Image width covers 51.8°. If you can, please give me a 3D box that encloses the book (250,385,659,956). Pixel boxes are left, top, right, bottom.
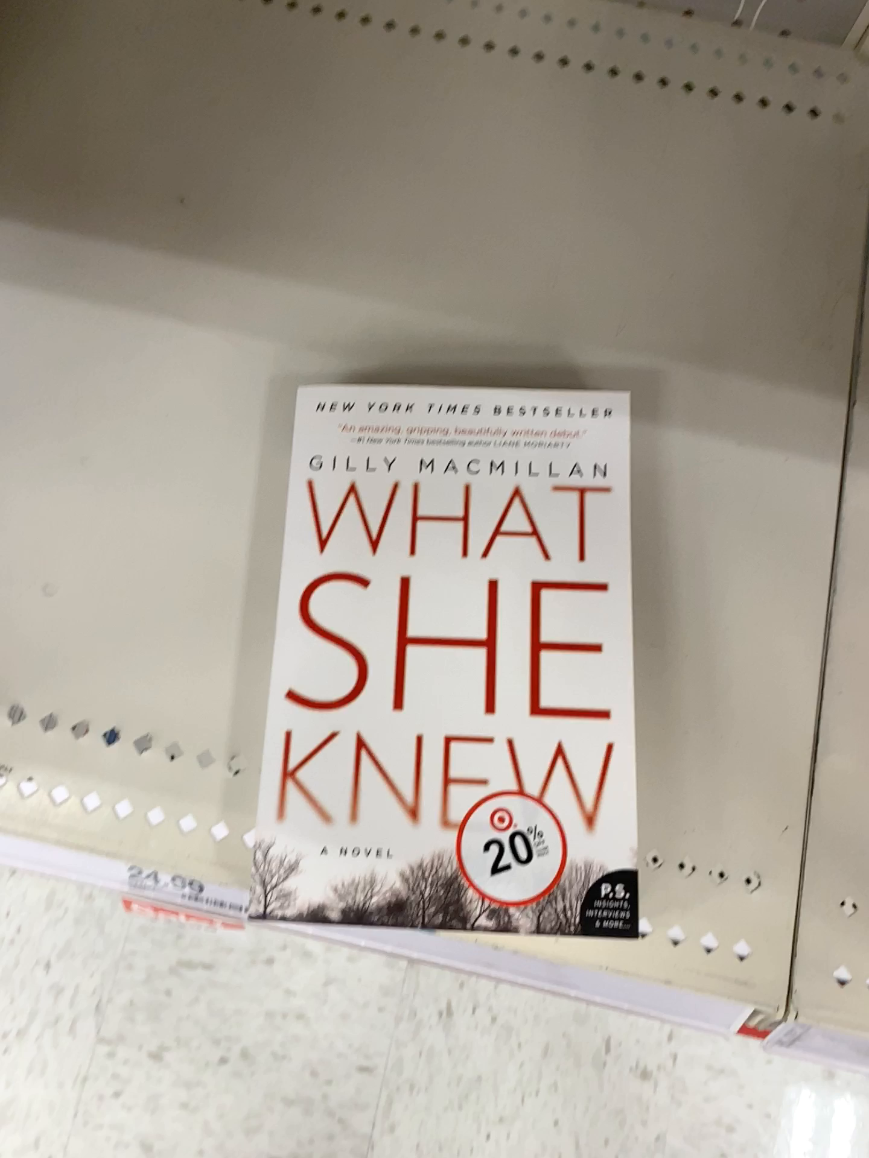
[{"bbox_3d":[0.011,0.028,0.333,0.130,0.041,0.197,2,73,2],"label":"book"}]
